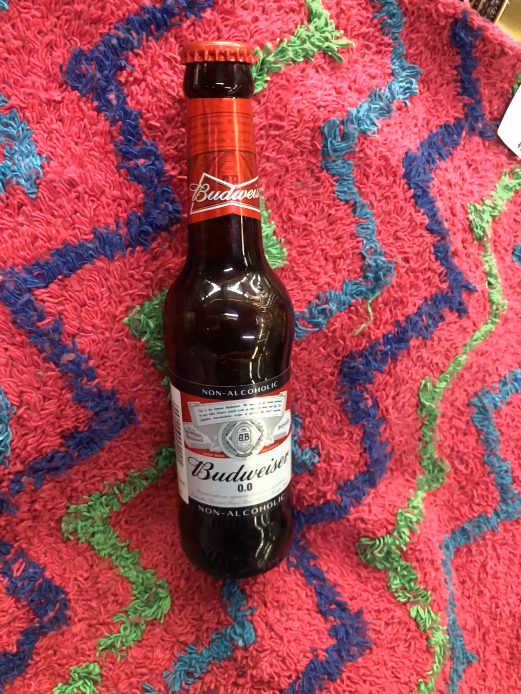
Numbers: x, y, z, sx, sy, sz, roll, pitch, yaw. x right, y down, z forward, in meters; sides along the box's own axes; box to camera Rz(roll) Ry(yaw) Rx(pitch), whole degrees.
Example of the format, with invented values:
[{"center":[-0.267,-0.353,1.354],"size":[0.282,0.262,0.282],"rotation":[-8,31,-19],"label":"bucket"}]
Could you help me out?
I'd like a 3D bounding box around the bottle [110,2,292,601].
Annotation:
[{"center":[-0.024,-0.011,0.268],"size":[0.060,0.050,0.250],"rotation":[-6,106,-12],"label":"bottle"}]
